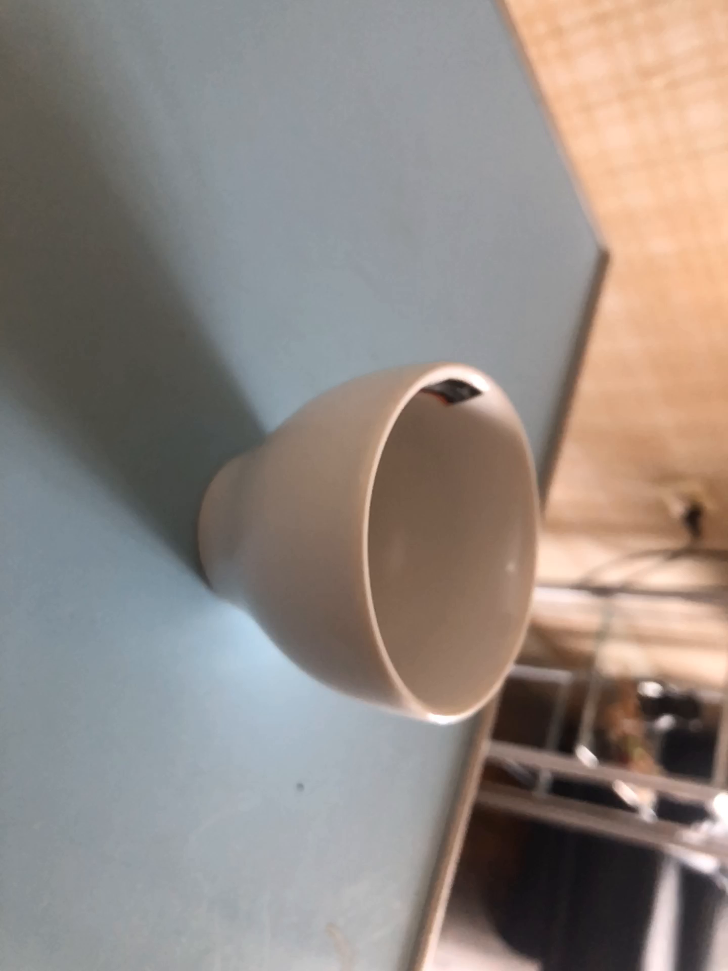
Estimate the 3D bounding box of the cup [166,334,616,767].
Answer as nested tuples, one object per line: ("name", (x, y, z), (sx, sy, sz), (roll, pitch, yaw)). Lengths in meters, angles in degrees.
("cup", (0.015, 0.007, 0.231), (0.111, 0.065, 0.088), (-14, 101, -52))
